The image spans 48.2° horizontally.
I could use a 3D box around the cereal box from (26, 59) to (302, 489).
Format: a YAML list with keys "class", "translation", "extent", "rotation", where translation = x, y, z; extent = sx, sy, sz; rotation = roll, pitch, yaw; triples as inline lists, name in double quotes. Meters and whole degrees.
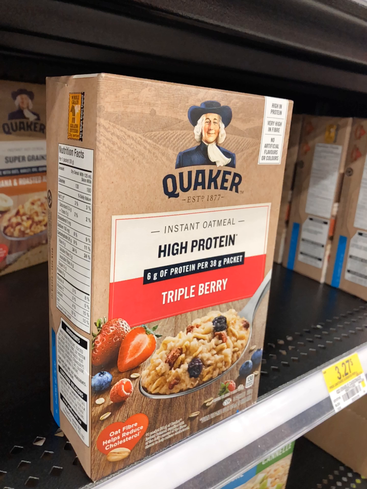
- class: "cereal box"
  translation: [-0.012, 0.010, 0.243]
  extent: [0.130, 0.199, 0.070]
  rotation: [-8, 19, -36]
